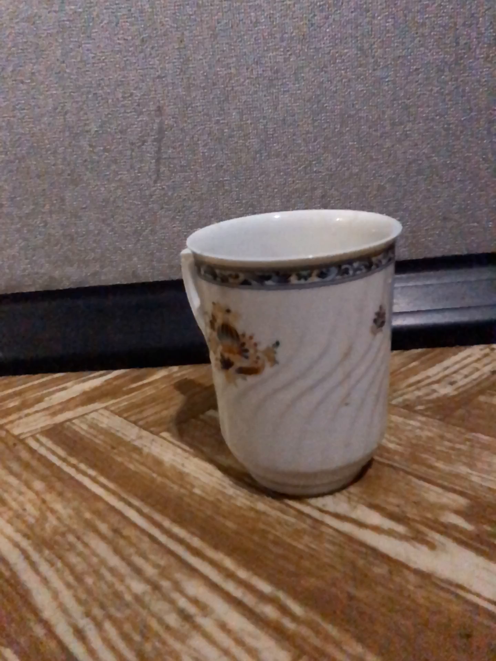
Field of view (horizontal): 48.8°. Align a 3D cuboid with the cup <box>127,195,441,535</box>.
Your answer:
[{"bbox_3d":[0.011,0.001,0.244,0.077,0.099,0.119,-17,24,-26],"label":"cup"}]
